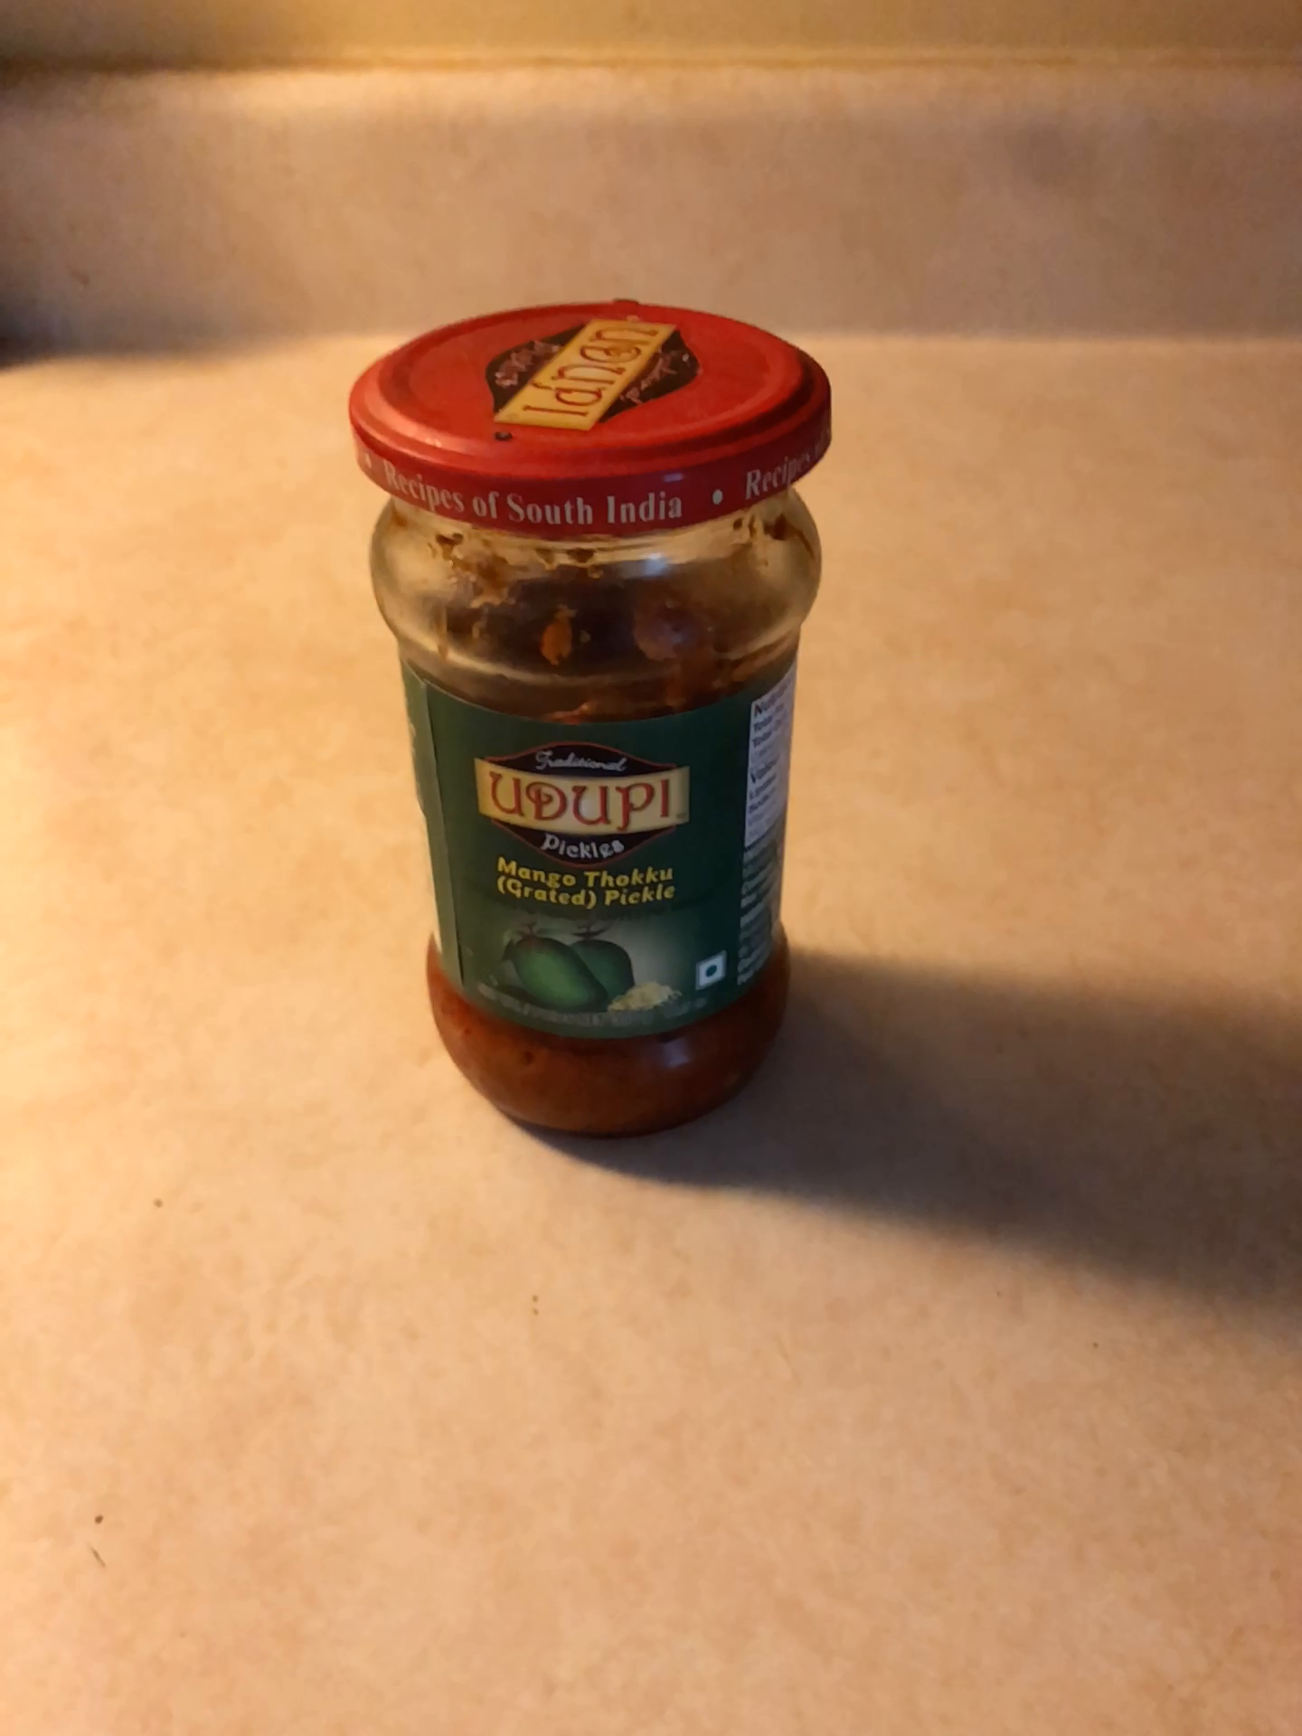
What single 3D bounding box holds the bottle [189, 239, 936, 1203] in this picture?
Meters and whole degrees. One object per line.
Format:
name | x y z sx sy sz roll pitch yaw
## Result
bottle | -0.006 -0.025 0.234 0.080 0.120 0.080 0 37 0
